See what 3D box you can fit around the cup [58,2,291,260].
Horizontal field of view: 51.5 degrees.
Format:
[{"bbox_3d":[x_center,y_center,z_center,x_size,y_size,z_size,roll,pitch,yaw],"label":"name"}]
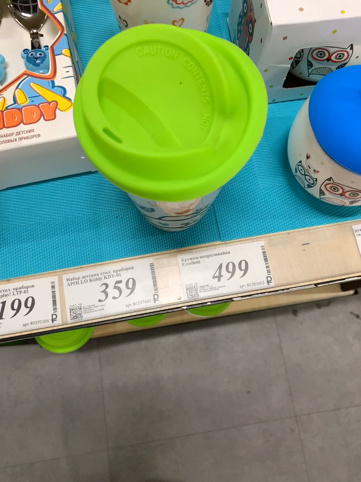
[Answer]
[{"bbox_3d":[-0.006,-0.051,0.237,0.090,0.136,0.084,0,76,-1],"label":"cup"}]
